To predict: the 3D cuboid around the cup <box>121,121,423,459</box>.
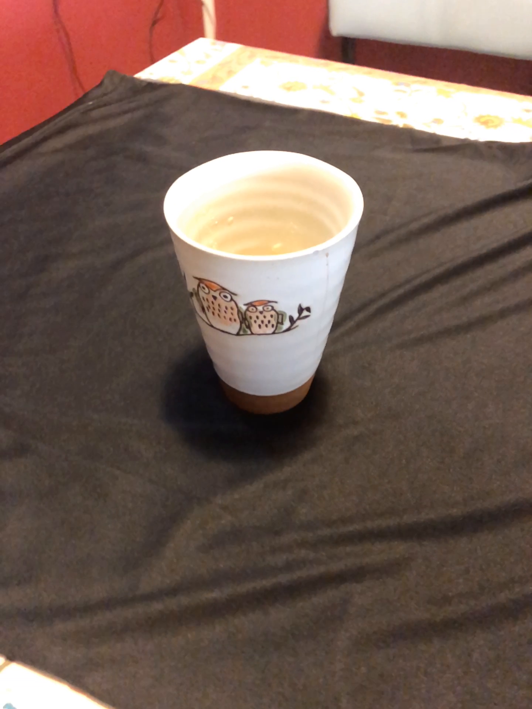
[{"bbox_3d":[0.004,-0.032,0.270,0.080,0.099,0.090,33,54,30],"label":"cup"}]
